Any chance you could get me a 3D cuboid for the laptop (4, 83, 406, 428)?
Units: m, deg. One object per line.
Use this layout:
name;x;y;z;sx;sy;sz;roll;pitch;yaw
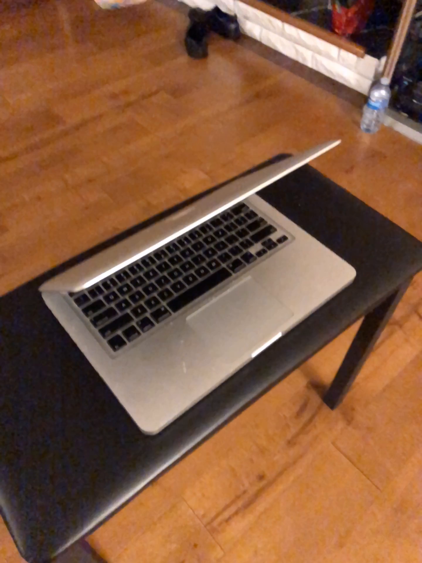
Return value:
laptop;-0.005;-0.045;0.493;0.310;0.144;0.209;-33;59;-21
